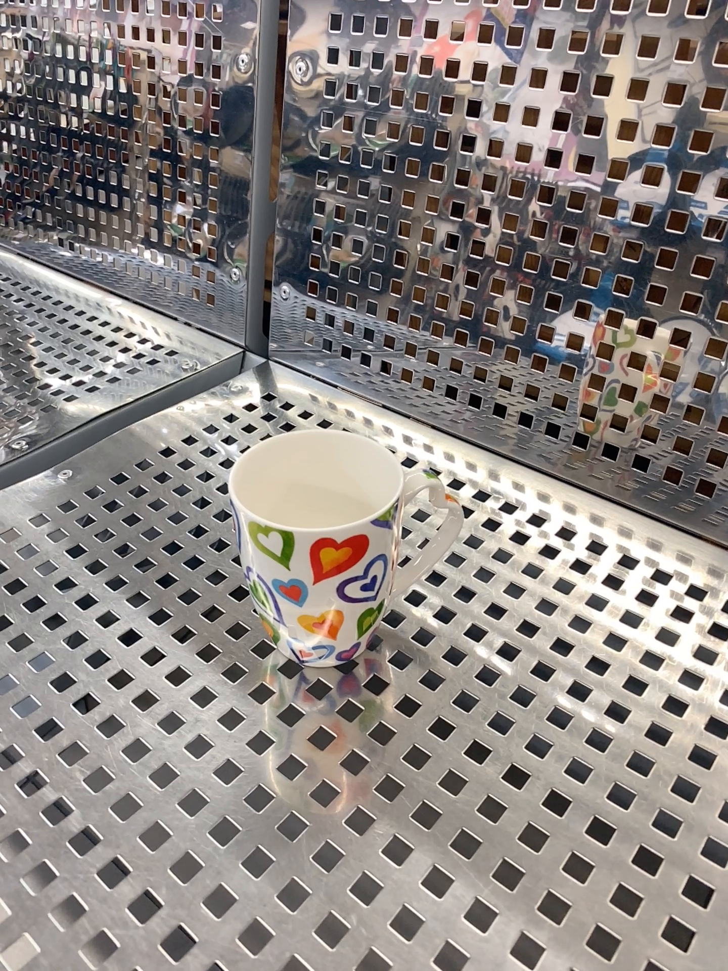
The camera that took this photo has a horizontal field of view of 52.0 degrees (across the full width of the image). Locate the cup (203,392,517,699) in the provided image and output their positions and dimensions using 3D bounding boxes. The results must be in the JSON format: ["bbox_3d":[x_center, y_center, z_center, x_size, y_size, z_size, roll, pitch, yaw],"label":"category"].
[{"bbox_3d":[-0.004,0.026,0.355,0.120,0.100,0.070,-12,40,-16],"label":"cup"}]
